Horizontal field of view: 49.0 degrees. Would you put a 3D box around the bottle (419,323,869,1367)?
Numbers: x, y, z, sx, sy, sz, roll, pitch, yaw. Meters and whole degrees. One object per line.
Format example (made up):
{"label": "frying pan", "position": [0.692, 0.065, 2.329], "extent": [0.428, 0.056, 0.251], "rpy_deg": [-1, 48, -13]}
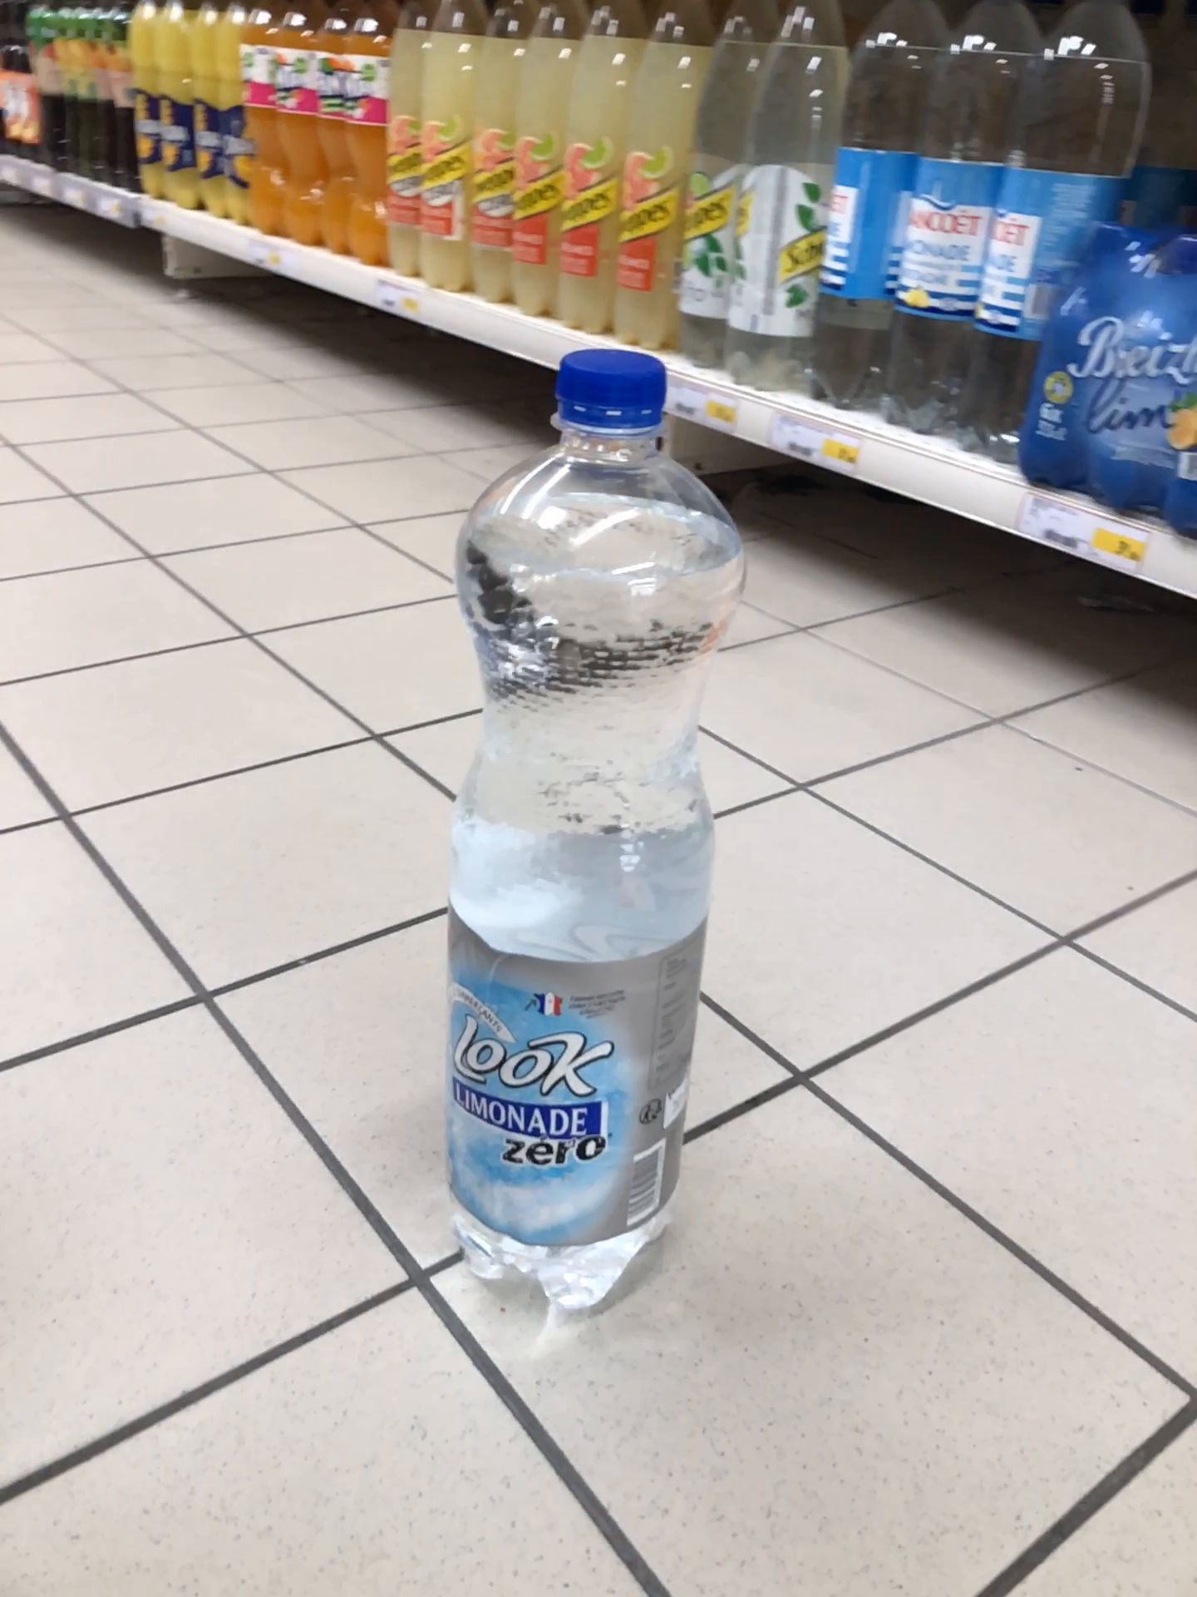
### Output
{"label": "bottle", "position": [0.007, 0.024, 0.444], "extent": [0.100, 0.328, 0.101], "rpy_deg": [3, 28, -2]}
